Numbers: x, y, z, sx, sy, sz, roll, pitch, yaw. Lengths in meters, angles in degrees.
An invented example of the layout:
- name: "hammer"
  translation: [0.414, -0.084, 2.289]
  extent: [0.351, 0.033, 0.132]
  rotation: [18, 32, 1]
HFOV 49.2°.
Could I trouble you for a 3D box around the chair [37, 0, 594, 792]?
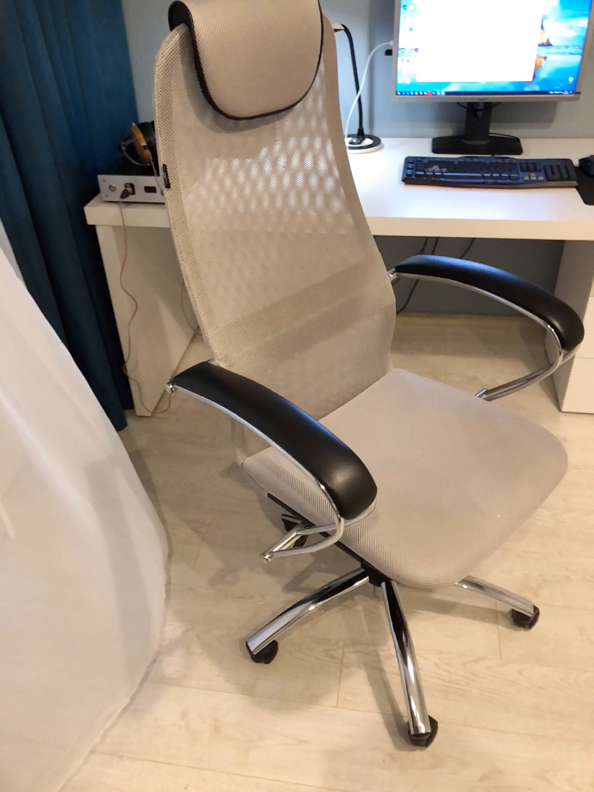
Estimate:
- name: "chair"
  translation: [0.165, 0.004, 1.231]
  extent: [0.693, 1.291, 0.682]
  rotation: [-31, 45, -32]
